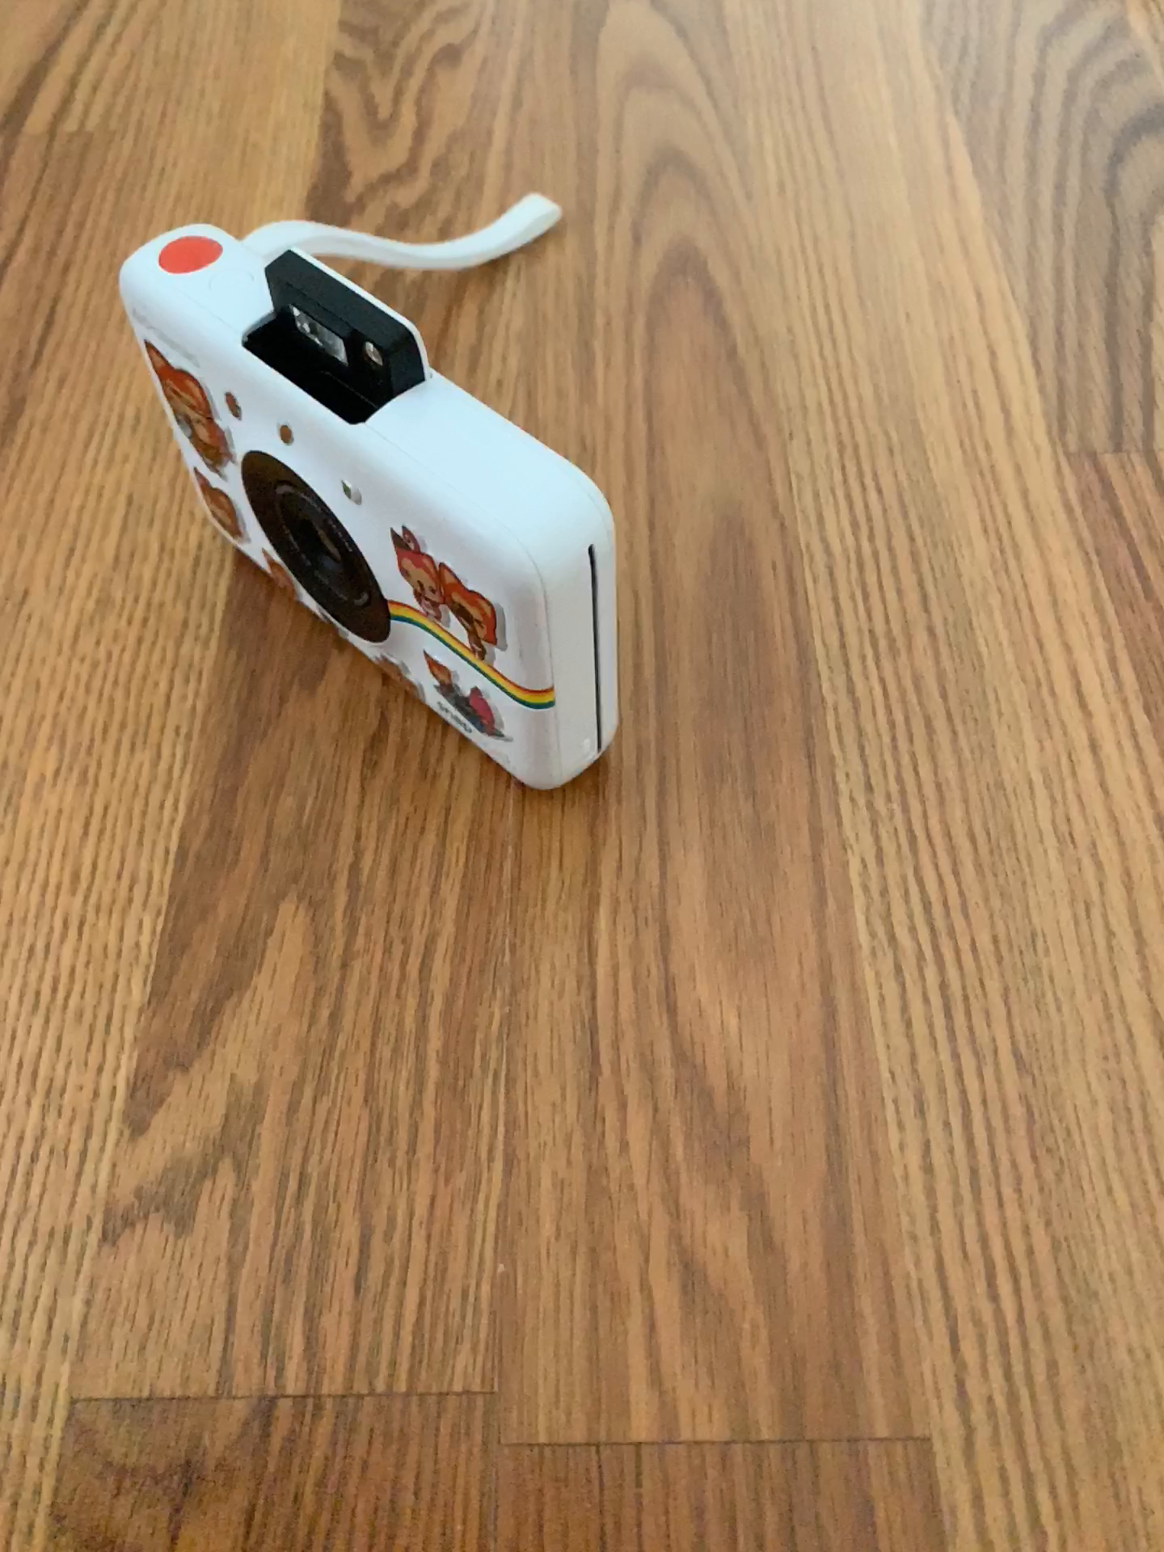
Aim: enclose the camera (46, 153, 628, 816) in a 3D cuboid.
[{"bbox_3d":[-0.046,-0.058,0.244,0.126,0.081,0.026,39,67,25],"label":"camera"}]
